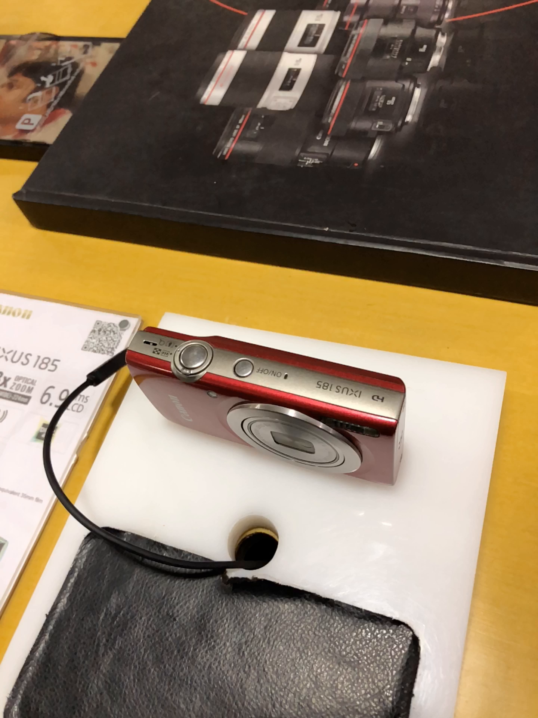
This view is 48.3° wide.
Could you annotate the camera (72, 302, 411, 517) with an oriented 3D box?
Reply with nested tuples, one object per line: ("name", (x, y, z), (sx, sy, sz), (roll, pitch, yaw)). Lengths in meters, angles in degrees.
("camera", (-0.007, 0.017, 0.202), (0.100, 0.050, 0.030), (13, 63, 18))
